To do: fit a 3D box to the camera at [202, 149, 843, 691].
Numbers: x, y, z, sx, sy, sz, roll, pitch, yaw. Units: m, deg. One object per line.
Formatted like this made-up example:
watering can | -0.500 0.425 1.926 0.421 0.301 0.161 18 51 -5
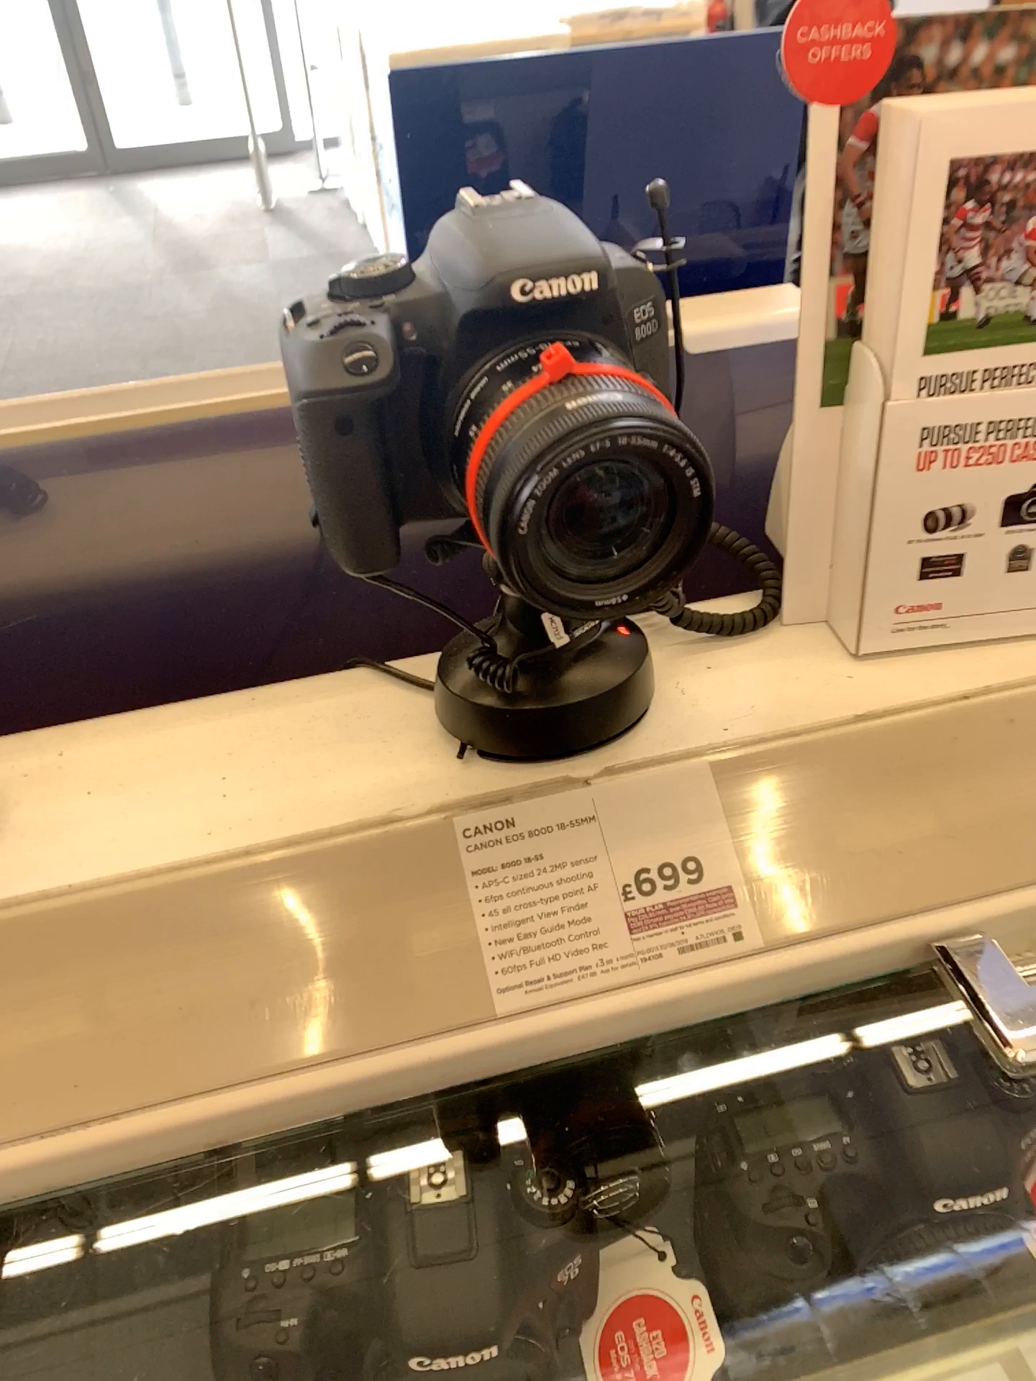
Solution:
camera | -0.007 -0.094 0.327 0.140 0.089 0.141 -15 41 -14
